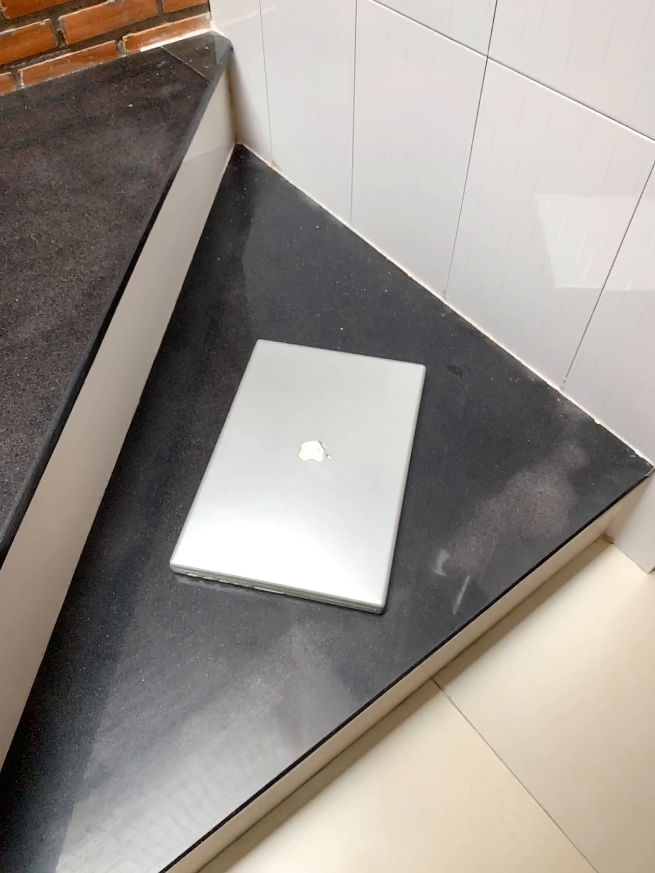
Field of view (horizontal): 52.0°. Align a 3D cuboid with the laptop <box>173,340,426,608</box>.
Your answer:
[{"bbox_3d":[-0.021,0.031,1.042,0.291,0.013,0.441,11,53,5],"label":"laptop"}]
